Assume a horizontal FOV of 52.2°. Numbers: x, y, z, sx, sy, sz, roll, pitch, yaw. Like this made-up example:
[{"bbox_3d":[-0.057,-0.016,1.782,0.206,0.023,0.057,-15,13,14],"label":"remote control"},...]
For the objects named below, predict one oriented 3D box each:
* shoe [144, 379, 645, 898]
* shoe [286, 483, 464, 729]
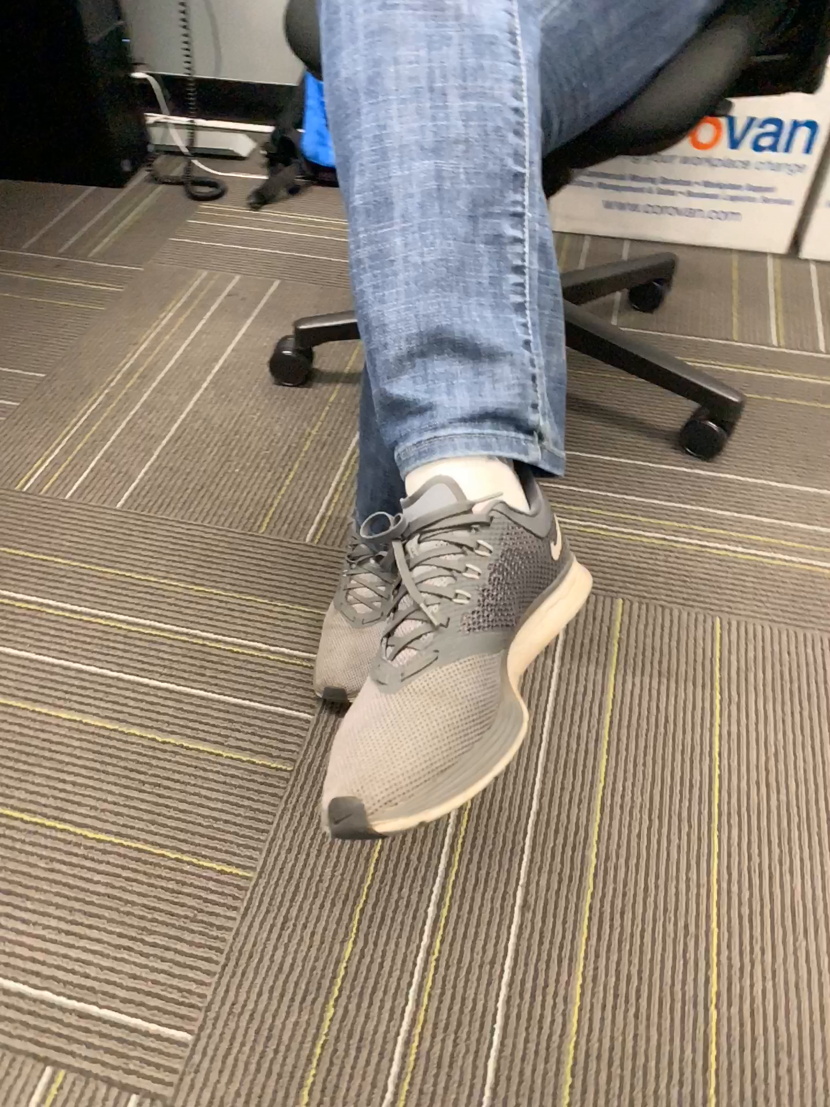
[{"bbox_3d":[0.012,0.036,0.516,0.122,0.142,0.296,-19,21,42],"label":"shoe"},{"bbox_3d":[-0.036,0.050,0.962,0.120,0.085,0.270,12,47,10],"label":"shoe"}]
